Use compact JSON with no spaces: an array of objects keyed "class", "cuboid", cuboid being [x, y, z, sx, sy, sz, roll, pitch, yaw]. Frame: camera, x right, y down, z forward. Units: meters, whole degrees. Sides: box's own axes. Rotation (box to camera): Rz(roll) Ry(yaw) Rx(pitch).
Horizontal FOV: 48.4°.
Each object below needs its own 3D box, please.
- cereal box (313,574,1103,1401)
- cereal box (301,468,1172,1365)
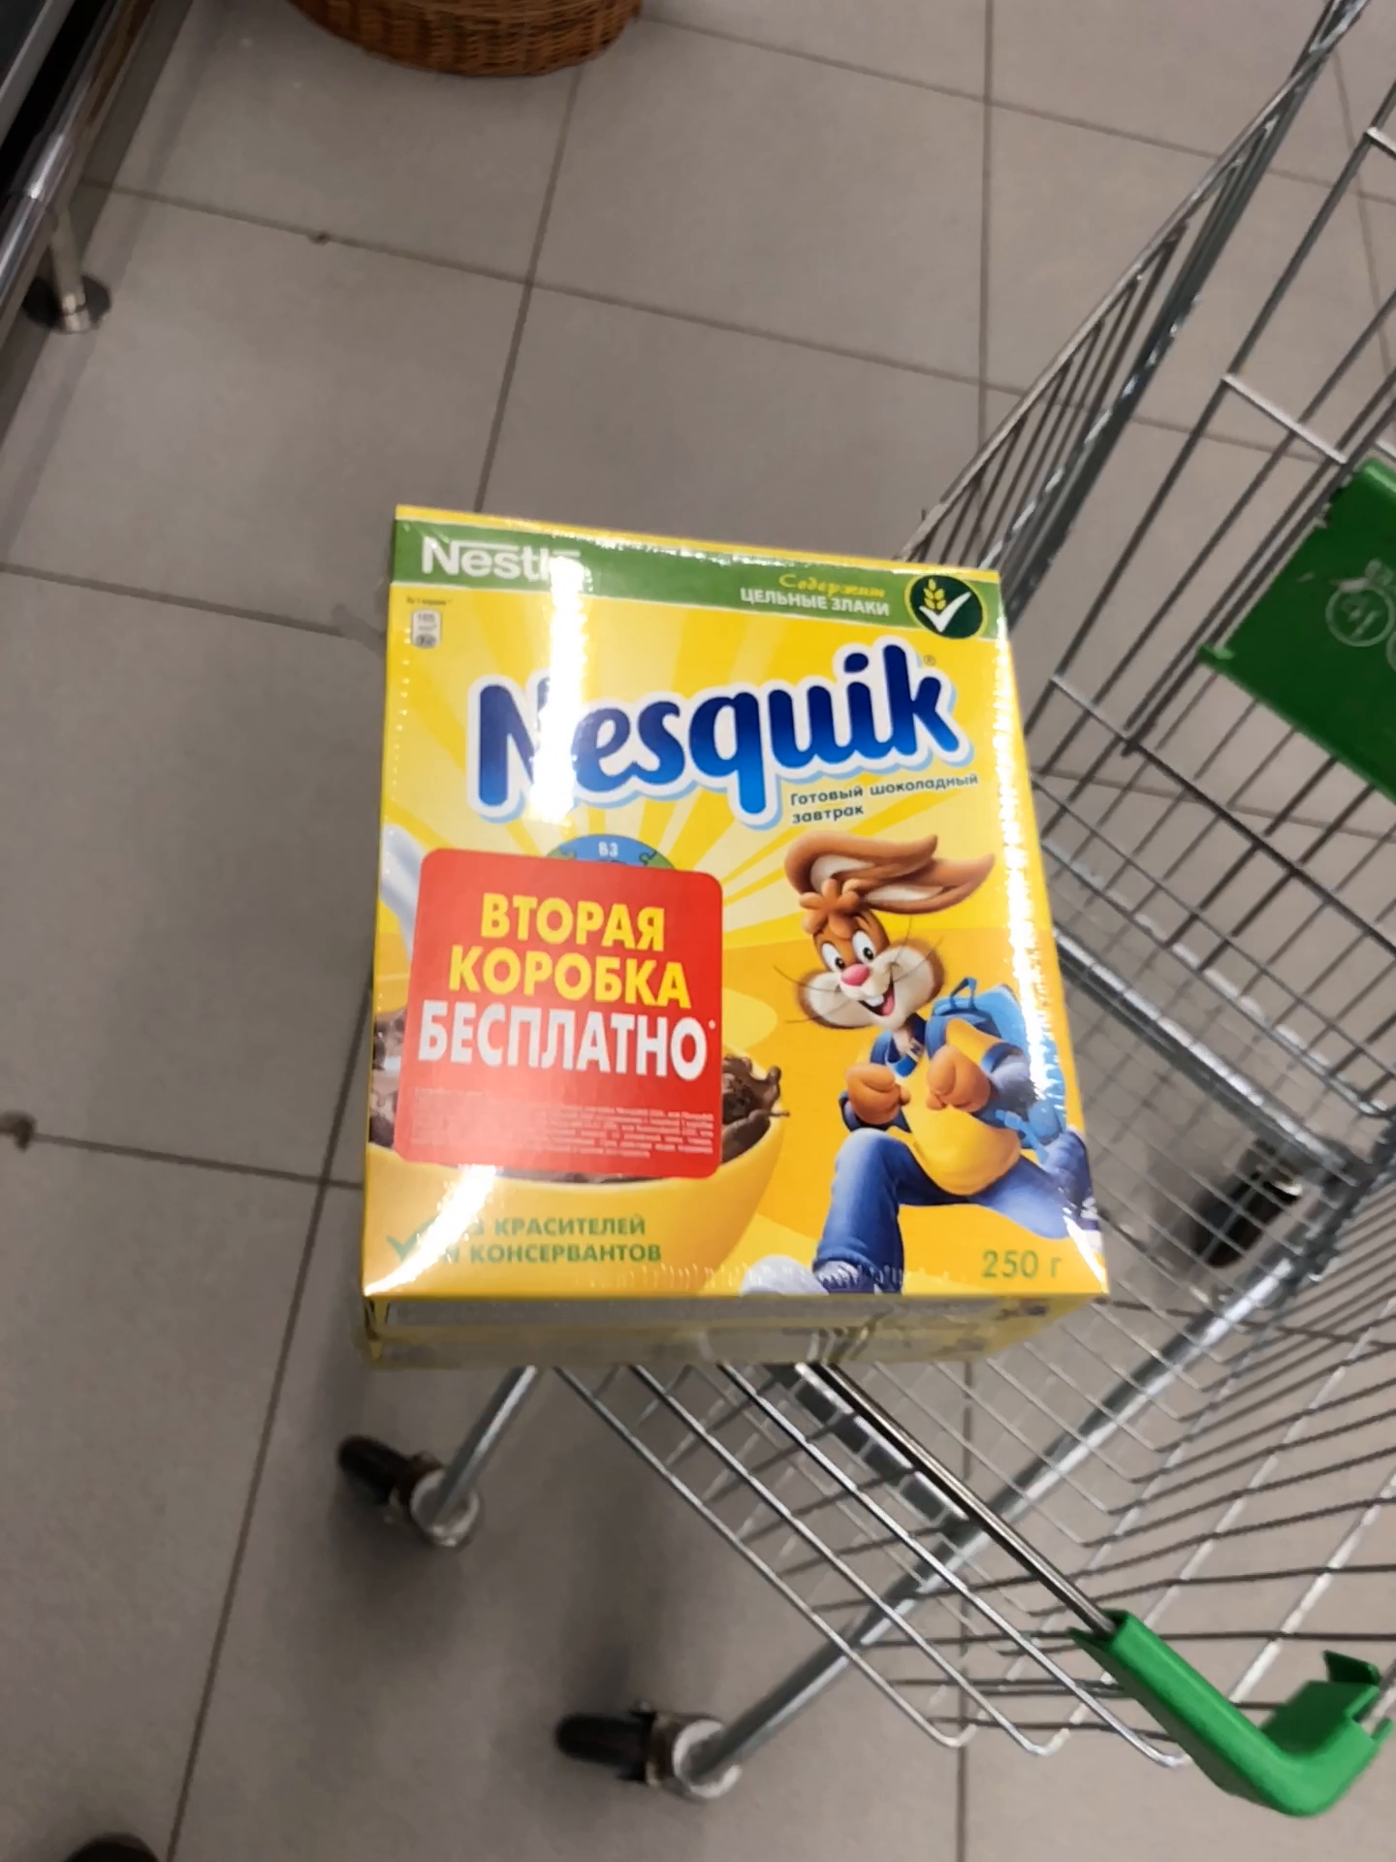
[{"class":"cereal box","cuboid":[-0.003,0.014,0.476,0.210,0.050,0.241,3,64,-13]},{"class":"cereal box","cuboid":[0.004,-0.007,0.436,0.210,0.050,0.241,3,64,-13]}]
